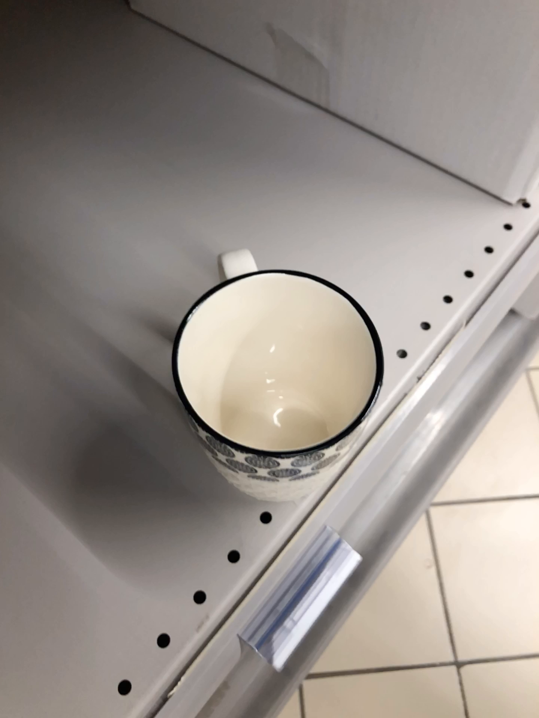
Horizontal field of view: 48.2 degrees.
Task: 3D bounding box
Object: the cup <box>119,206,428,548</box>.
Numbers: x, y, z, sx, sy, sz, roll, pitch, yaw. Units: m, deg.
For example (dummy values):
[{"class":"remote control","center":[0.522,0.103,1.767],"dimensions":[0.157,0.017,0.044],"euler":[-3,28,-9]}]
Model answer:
[{"class":"cup","center":[-0.002,0.012,0.280],"dimensions":[0.088,0.096,0.106],"euler":[-20,65,-10]}]
